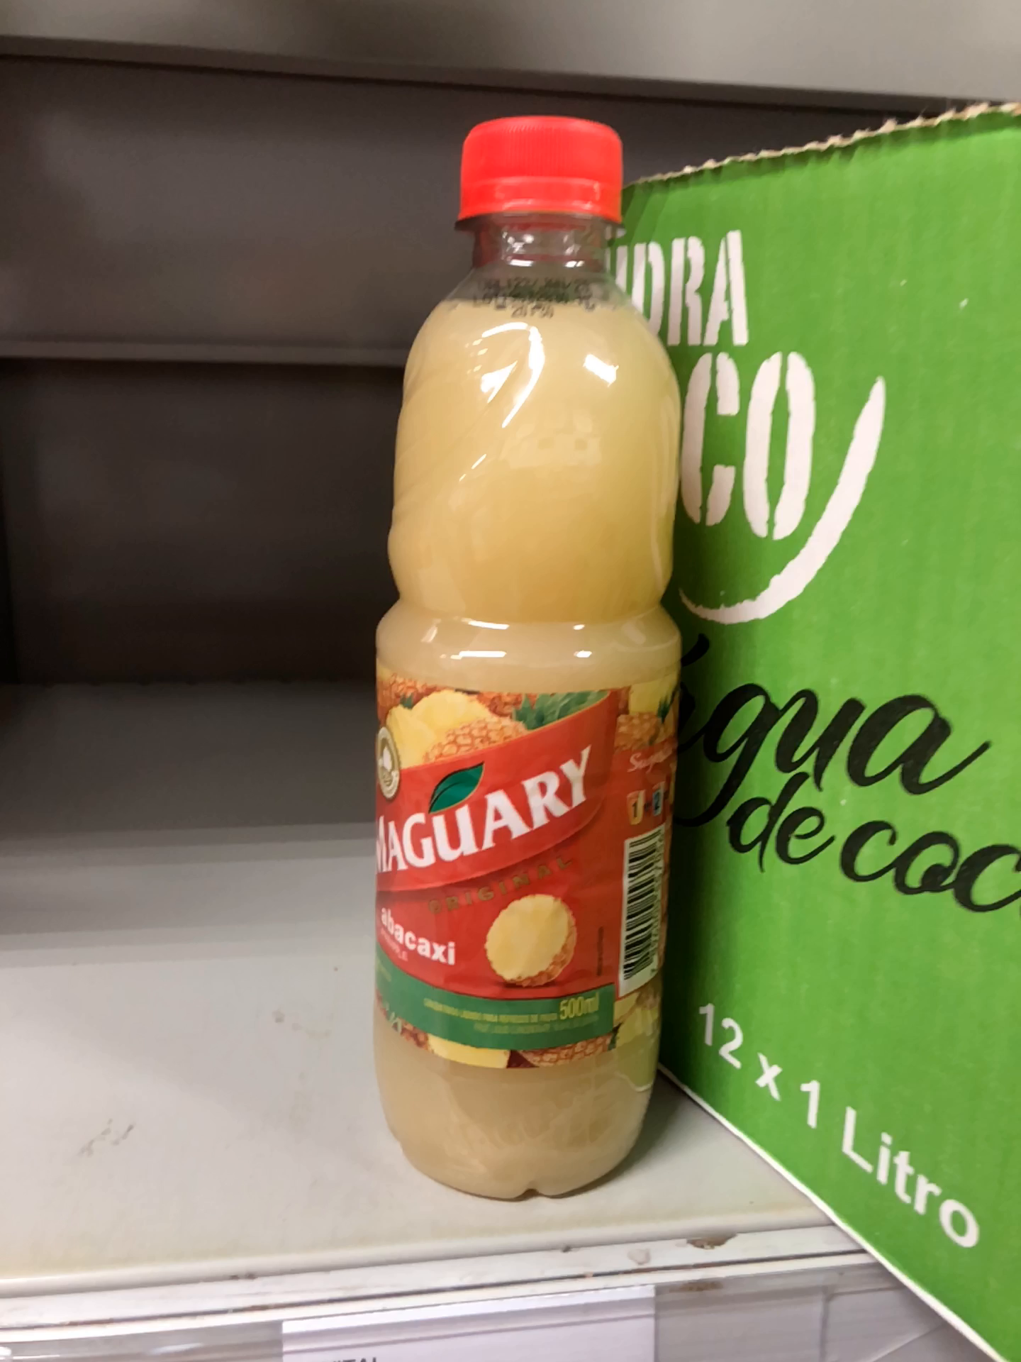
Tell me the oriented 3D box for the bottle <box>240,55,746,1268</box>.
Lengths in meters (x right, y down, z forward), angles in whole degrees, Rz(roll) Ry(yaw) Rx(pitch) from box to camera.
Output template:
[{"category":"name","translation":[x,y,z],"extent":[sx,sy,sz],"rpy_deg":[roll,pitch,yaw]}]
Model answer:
[{"category":"bottle","translation":[-0.004,-0.001,0.233],"extent":[0.070,0.209,0.060],"rpy_deg":[11,18,32]}]
